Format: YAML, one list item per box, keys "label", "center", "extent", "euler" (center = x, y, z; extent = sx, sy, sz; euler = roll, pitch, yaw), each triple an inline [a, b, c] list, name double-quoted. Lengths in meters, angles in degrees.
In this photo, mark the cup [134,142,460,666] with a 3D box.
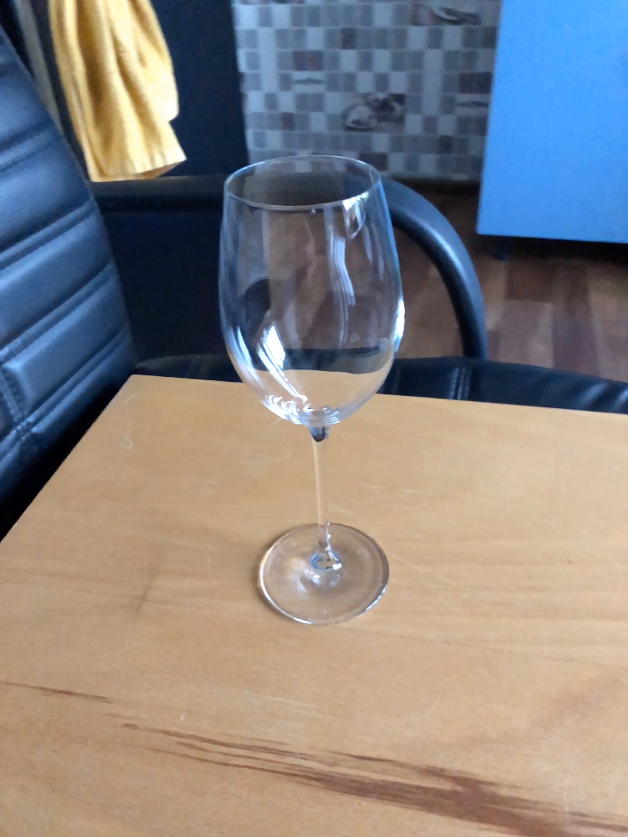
- label: "cup"
  center: [-0.002, -0.002, 0.332]
  extent: [0.090, 0.218, 0.090]
  euler: [-2, 36, 1]
